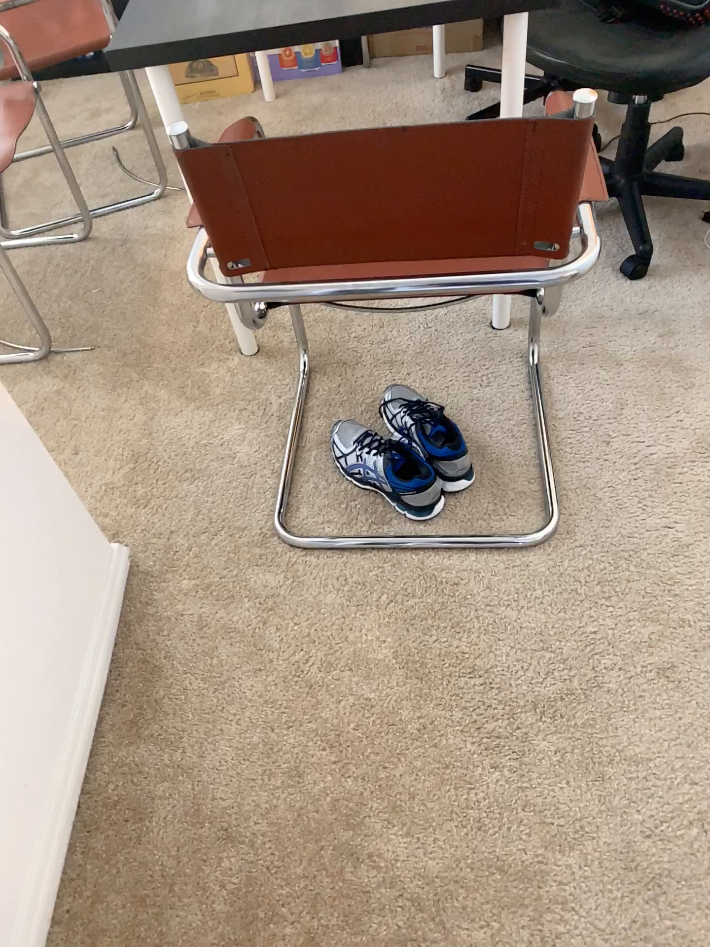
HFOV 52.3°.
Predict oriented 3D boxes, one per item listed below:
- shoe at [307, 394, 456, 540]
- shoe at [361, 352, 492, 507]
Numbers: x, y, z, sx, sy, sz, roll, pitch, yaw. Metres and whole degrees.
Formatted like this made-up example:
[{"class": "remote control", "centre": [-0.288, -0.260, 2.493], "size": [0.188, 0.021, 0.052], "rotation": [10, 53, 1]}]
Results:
[{"class": "shoe", "centre": [0.053, -0.020, 1.506], "size": [0.130, 0.100, 0.311], "rotation": [-36, 55, -20]}, {"class": "shoe", "centre": [0.139, -0.096, 1.469], "size": [0.130, 0.100, 0.312], "rotation": [-23, 51, -10]}]
